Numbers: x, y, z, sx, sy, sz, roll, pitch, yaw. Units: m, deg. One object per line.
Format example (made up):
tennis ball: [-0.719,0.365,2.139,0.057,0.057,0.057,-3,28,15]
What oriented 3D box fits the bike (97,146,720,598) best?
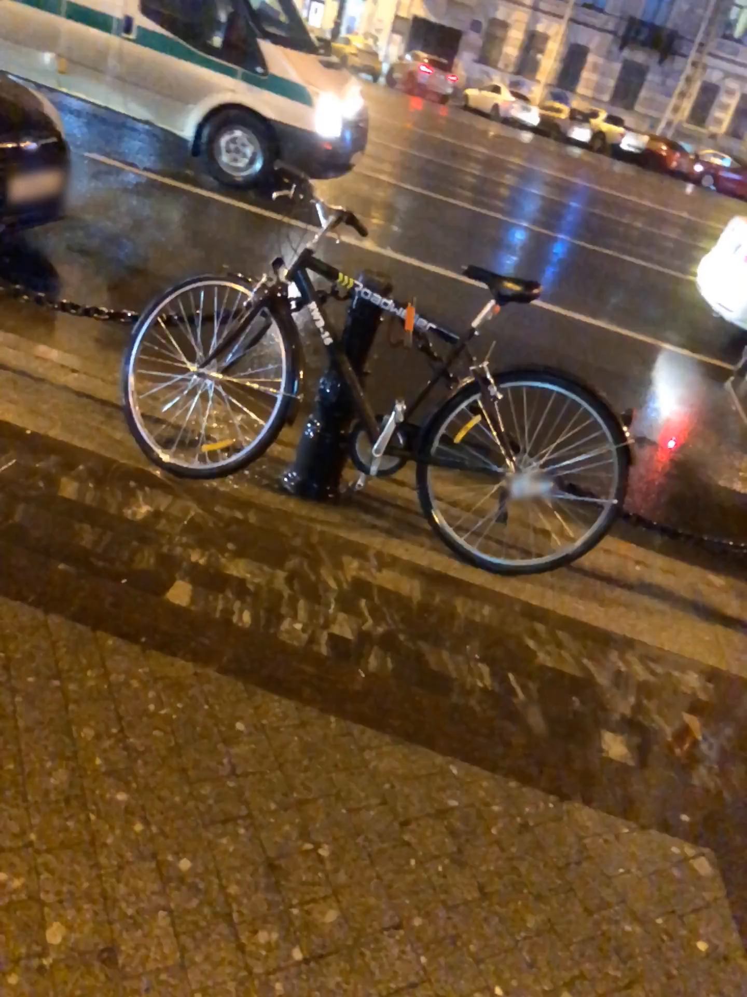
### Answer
bike: [0.047,-0.472,2.784,1.748,0.961,0.555,19,26,7]
